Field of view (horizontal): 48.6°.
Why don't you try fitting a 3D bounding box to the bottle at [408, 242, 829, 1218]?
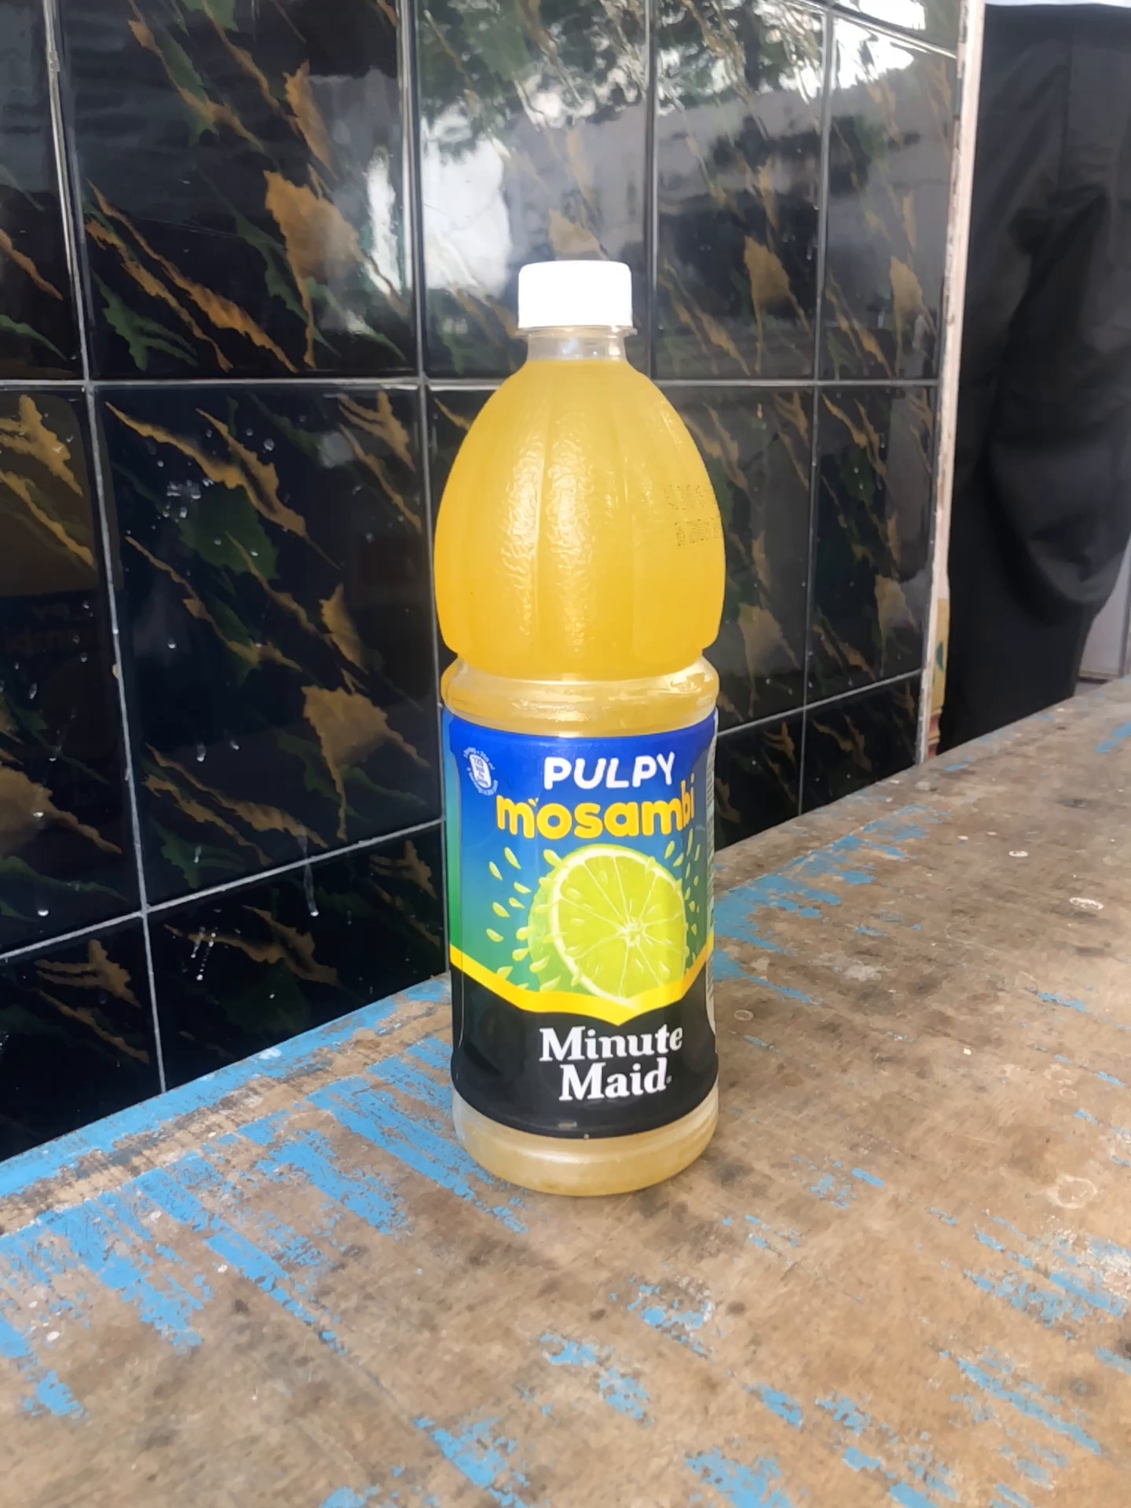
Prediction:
[{"bbox_3d":[0.009,-0.010,0.366,0.090,0.249,0.100,-4,16,-11],"label":"bottle"}]
